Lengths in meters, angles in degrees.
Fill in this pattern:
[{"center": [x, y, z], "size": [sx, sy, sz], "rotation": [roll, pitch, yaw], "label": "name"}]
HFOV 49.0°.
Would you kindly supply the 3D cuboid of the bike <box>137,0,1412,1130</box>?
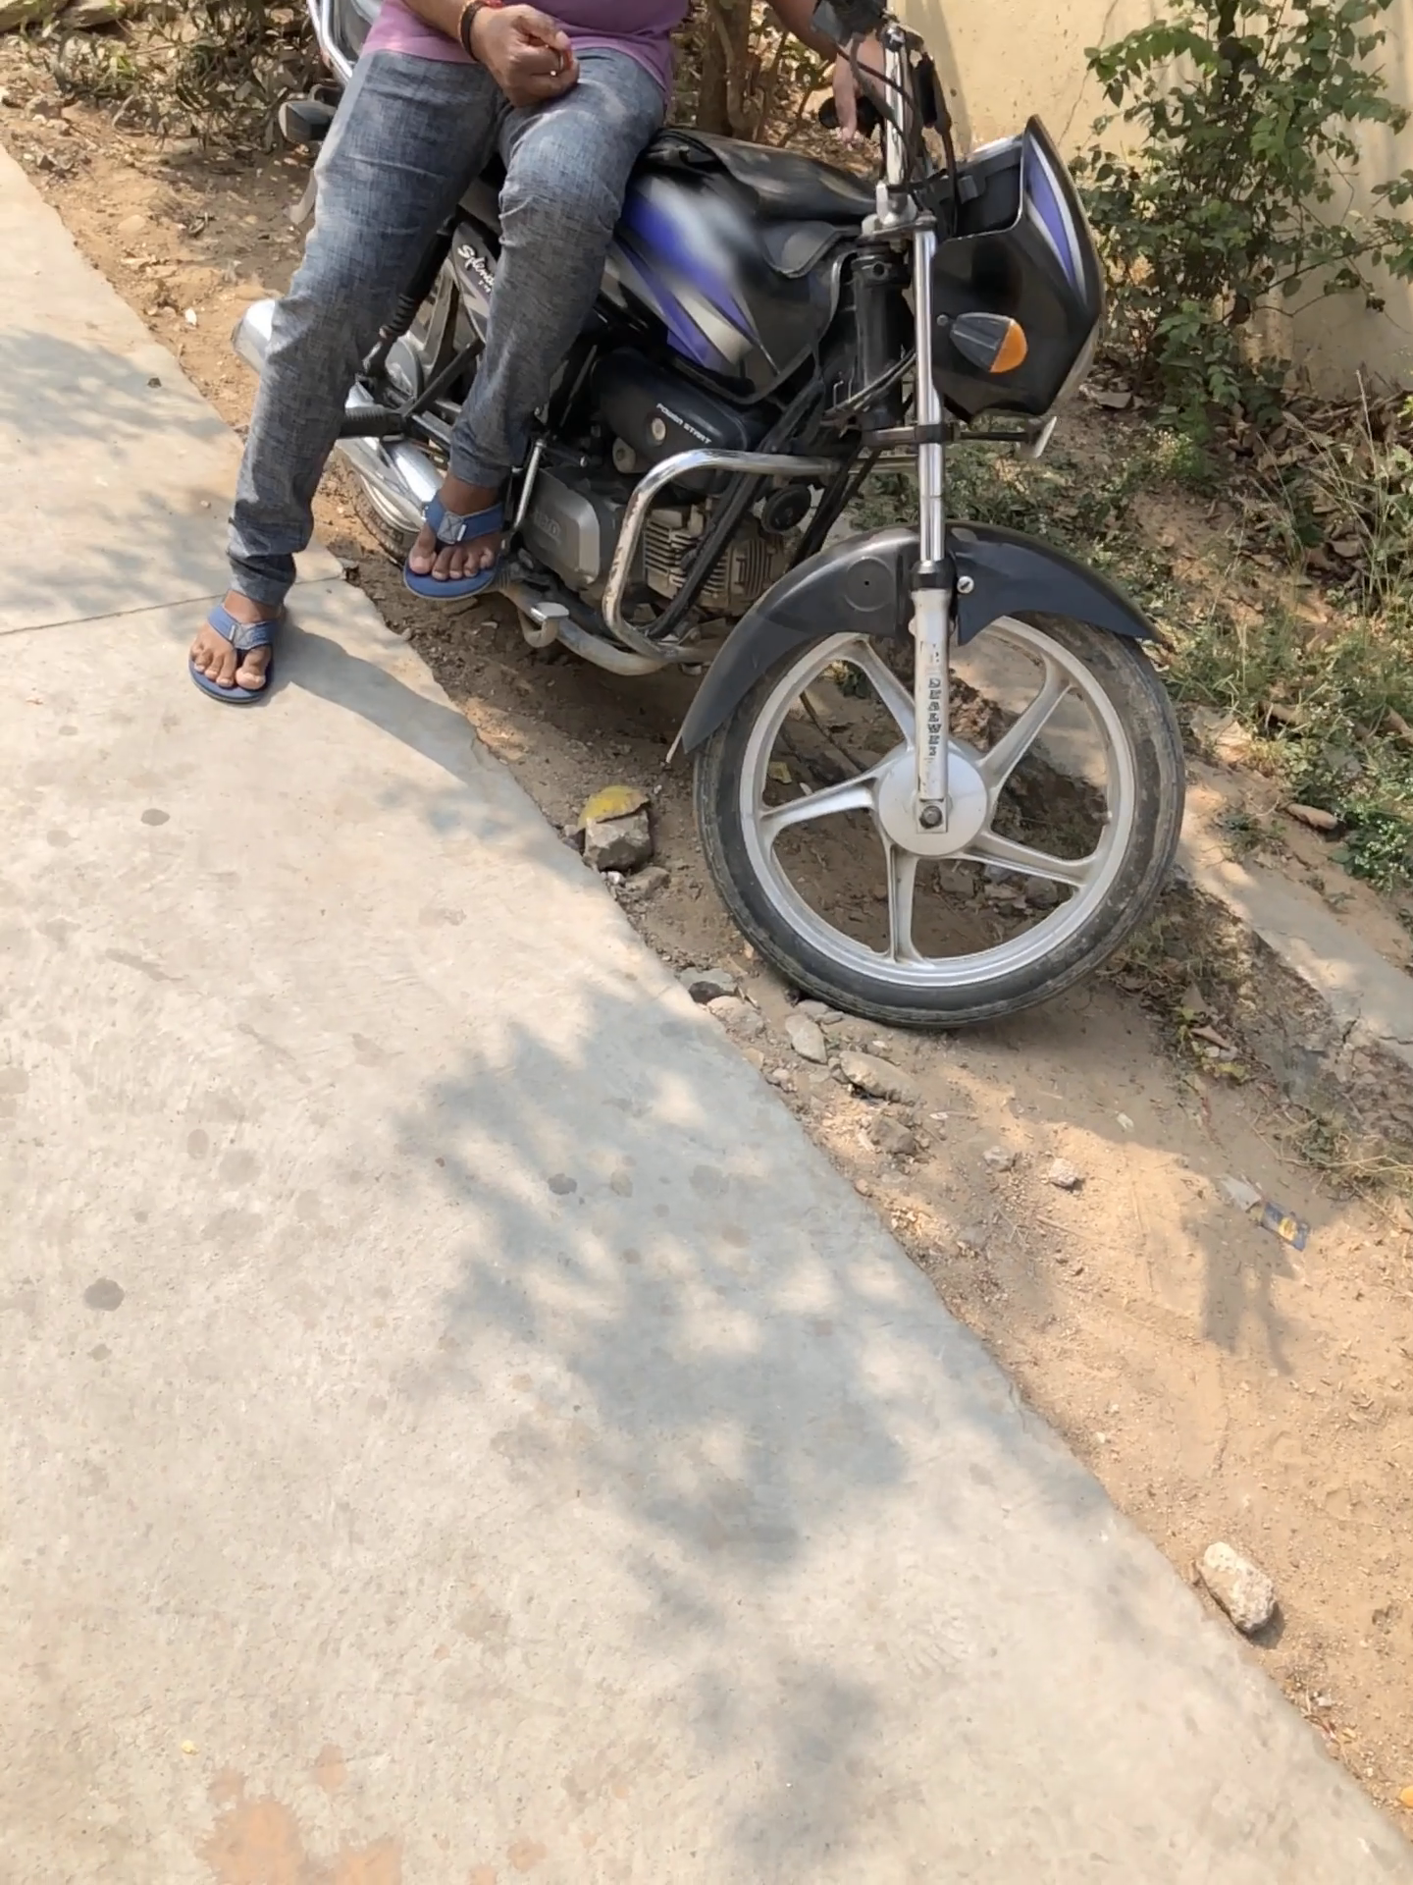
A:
[{"center": [0.049, -0.812, 2.189], "size": [0.774, 1.293, 1.760], "rotation": [-25, 51, -38], "label": "bike"}]
